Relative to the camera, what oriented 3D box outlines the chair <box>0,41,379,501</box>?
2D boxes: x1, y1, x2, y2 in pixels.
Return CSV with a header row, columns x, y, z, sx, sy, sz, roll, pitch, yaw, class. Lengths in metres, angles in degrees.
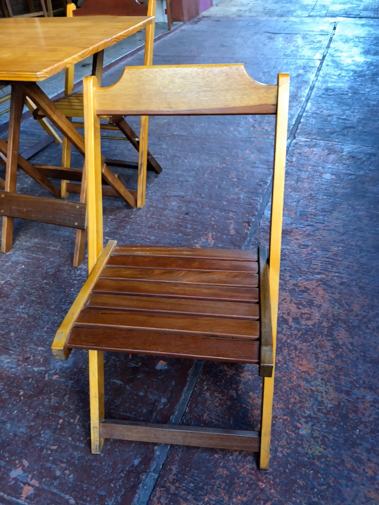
x,y,z,sx,sy,sz,roll,pitch,yaw,class
-0.002,0.041,0.814,0.450,0.735,0.473,4,37,7,chair
